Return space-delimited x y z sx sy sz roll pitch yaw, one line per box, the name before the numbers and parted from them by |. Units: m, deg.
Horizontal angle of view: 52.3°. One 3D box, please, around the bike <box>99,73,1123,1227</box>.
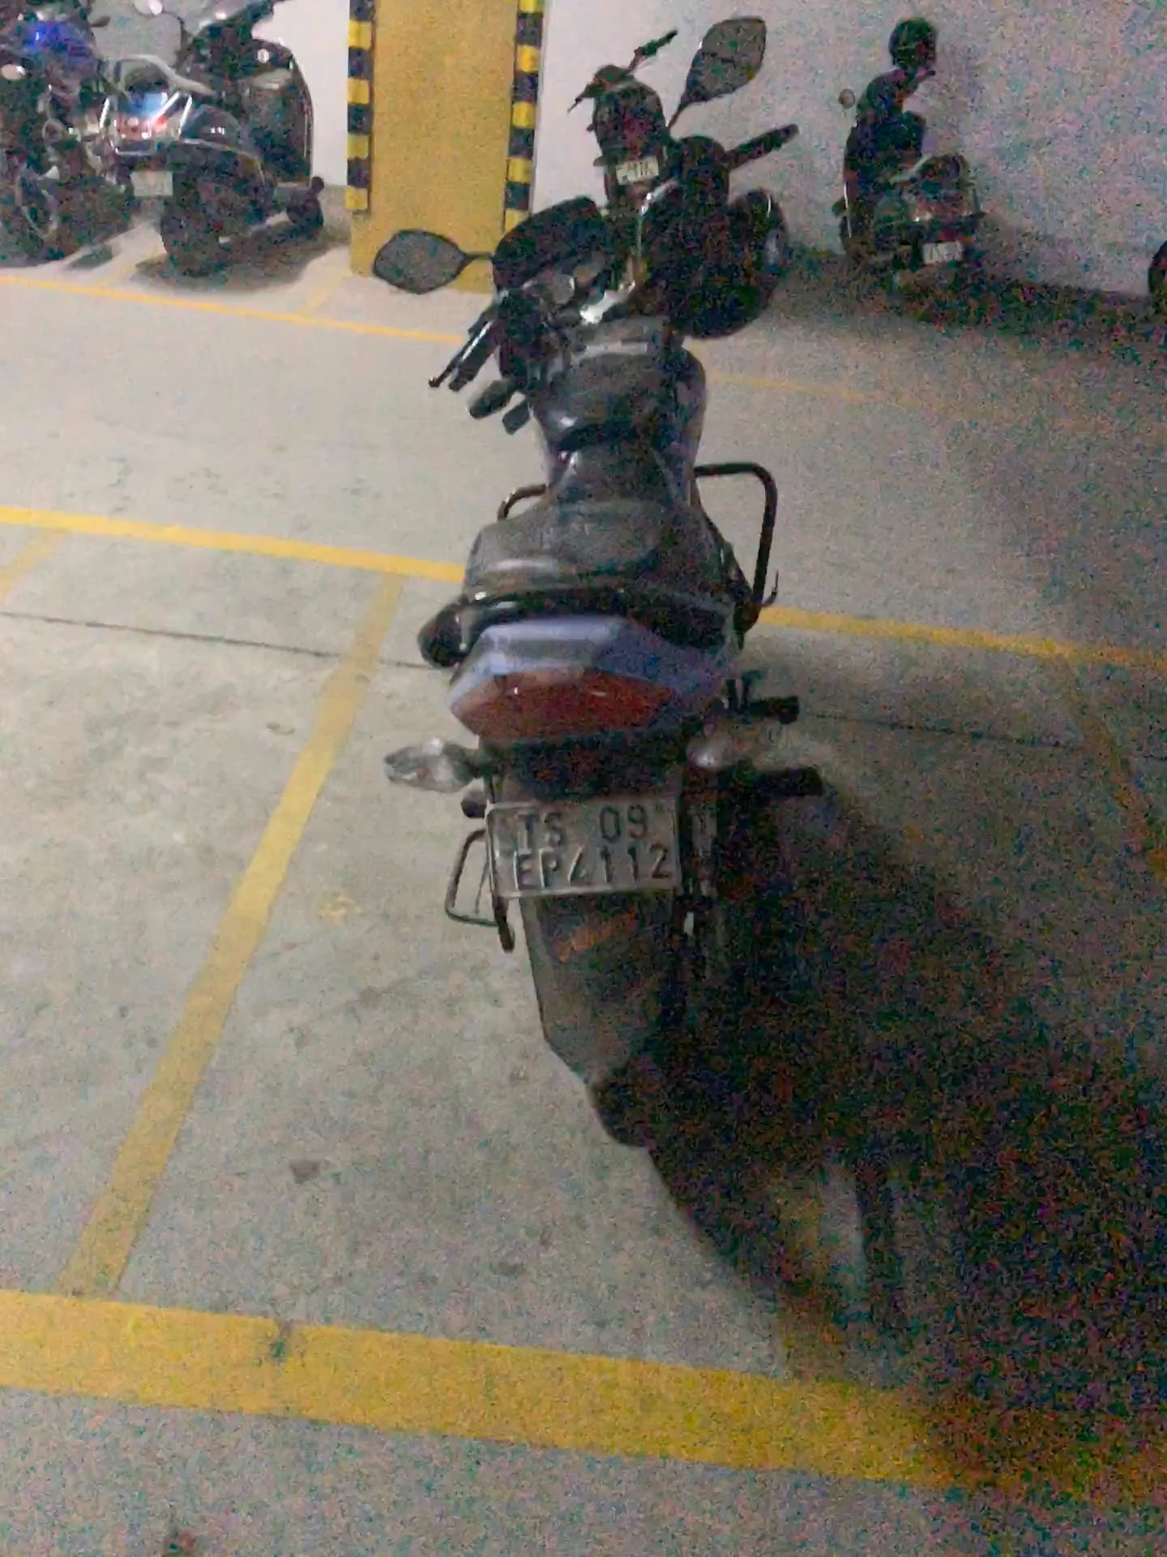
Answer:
bike | -0.109 -0.402 1.916 0.780 1.108 1.710 4 33 -7
